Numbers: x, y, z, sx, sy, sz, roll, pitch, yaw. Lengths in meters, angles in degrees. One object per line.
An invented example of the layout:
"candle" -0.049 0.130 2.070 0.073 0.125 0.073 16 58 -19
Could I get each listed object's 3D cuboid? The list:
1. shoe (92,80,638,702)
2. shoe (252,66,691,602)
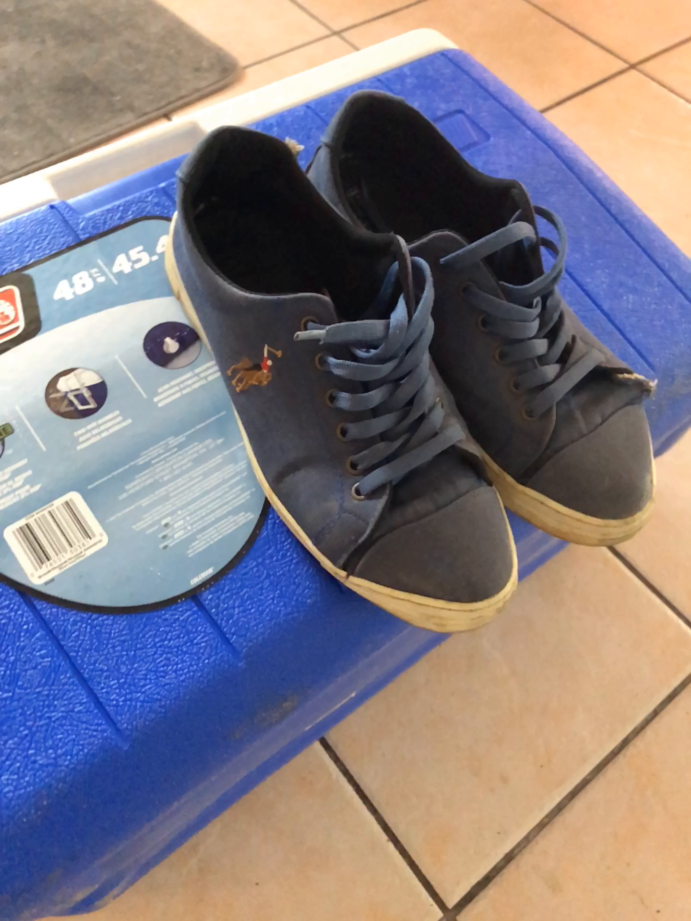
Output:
"shoe" -0.007 -0.042 0.363 0.107 0.090 0.271 -26 70 -19
"shoe" 0.073 -0.077 0.399 0.107 0.089 0.271 -32 68 -22
